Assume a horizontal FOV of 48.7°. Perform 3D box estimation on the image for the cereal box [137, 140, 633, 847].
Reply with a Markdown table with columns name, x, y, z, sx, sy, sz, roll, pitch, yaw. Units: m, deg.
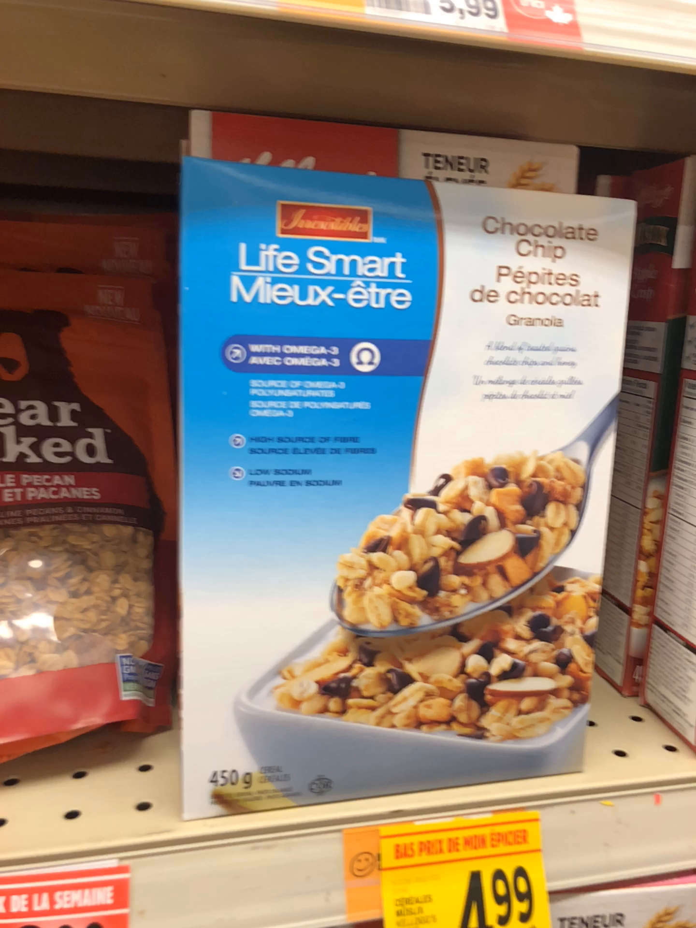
| name | x | y | z | sx | sy | sz | roll | pitch | yaw |
| --- | --- | --- | --- | --- | --- | --- | --- | --- | --- |
| cereal box | 0.010 | 0.012 | 0.305 | 0.180 | 0.239 | 0.050 | 0 | 8 | -16 |
